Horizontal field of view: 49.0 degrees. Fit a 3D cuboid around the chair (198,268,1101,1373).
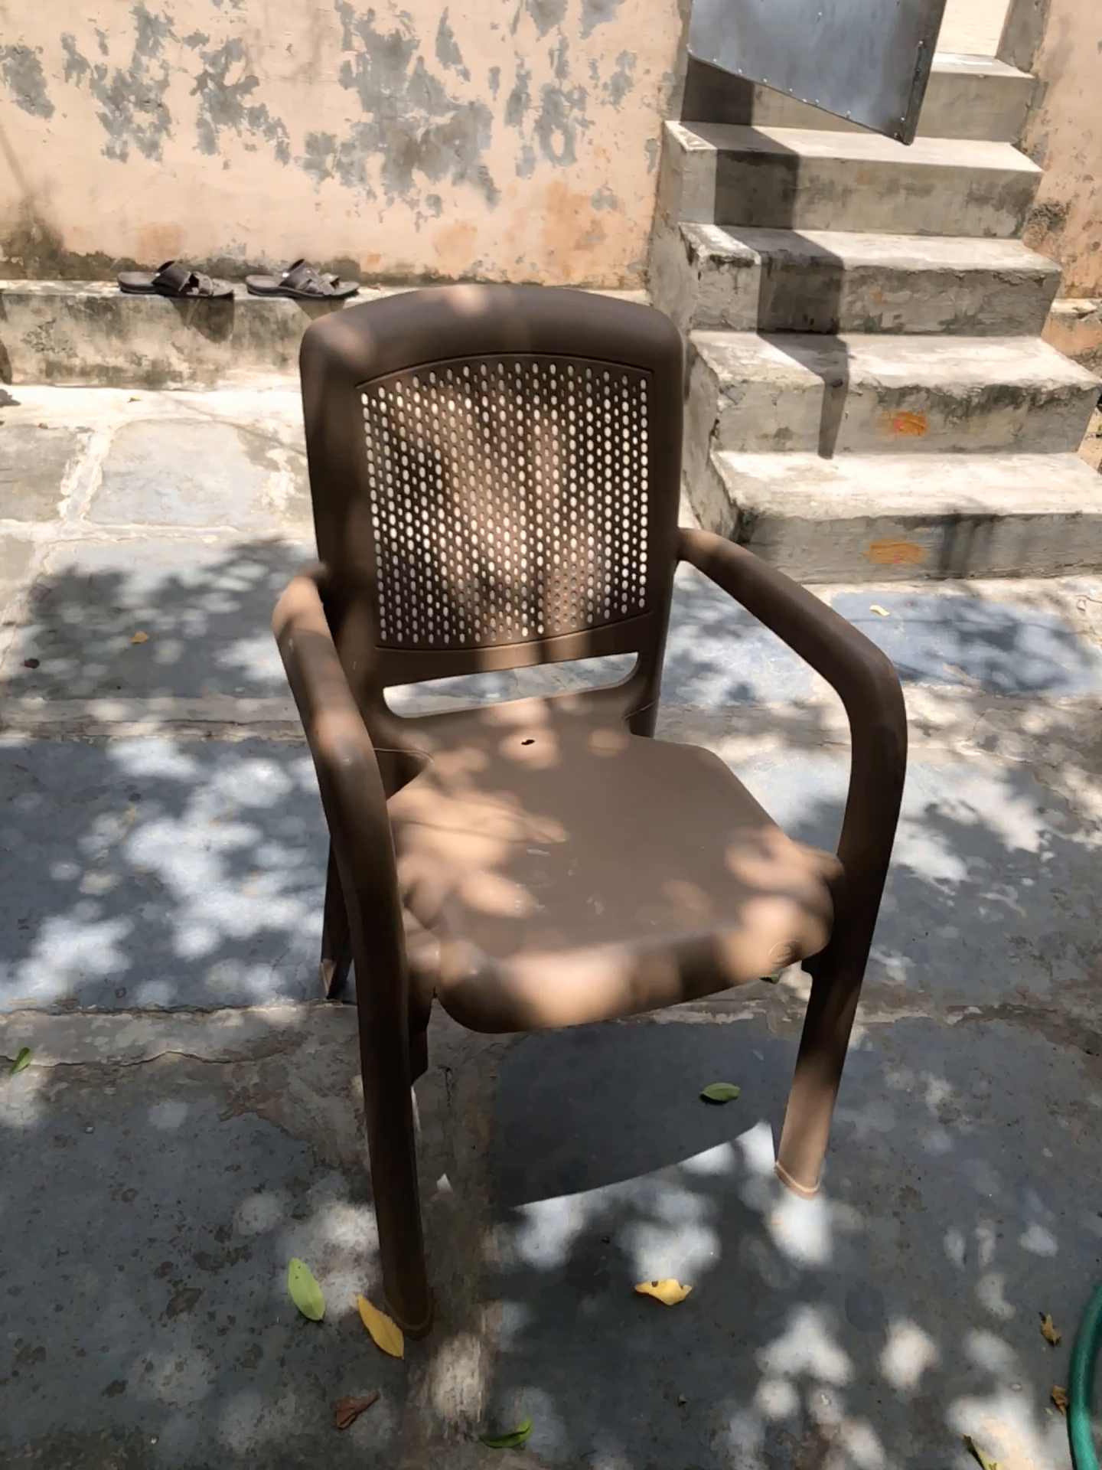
[{"bbox_3d":[0.032,0.040,1.275,0.631,0.825,0.682,-9,39,-19],"label":"chair"}]
